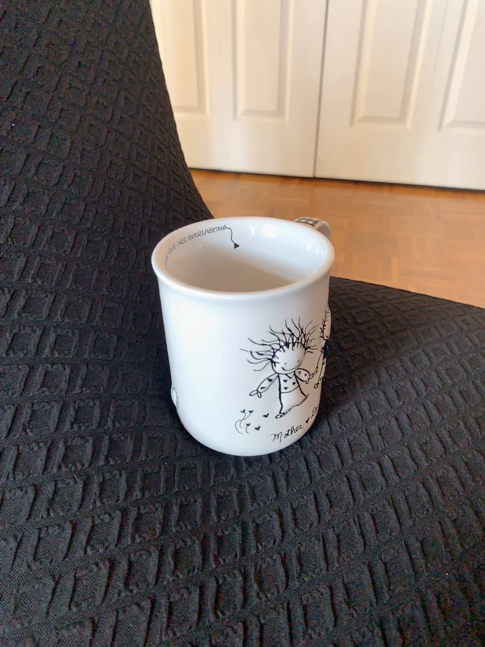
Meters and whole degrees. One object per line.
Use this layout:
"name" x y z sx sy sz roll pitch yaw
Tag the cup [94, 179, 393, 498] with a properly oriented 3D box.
"cup" 0.008 -0.003 0.303 0.100 0.109 0.140 21 41 27
